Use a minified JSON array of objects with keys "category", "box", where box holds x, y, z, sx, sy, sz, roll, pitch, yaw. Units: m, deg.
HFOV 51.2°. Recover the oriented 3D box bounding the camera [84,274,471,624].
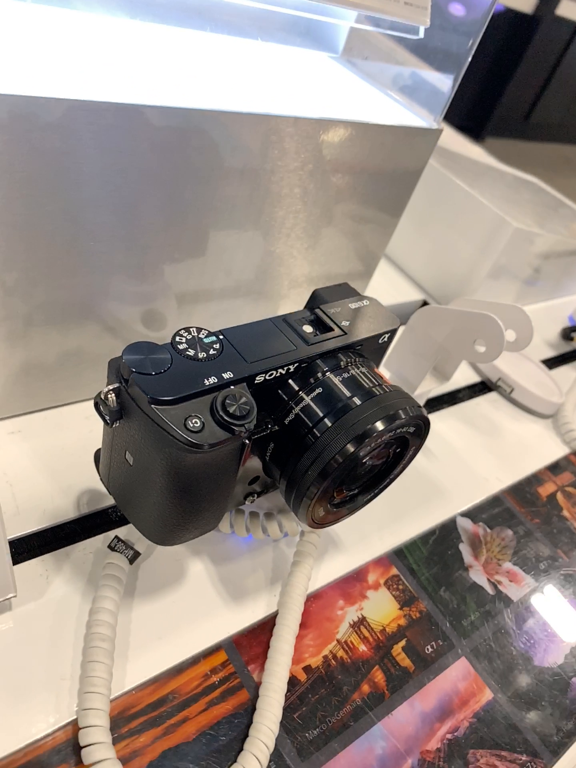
[{"category":"camera","box":[-0.003,0.016,0.235,0.121,0.070,0.070,-23,59,-41]}]
